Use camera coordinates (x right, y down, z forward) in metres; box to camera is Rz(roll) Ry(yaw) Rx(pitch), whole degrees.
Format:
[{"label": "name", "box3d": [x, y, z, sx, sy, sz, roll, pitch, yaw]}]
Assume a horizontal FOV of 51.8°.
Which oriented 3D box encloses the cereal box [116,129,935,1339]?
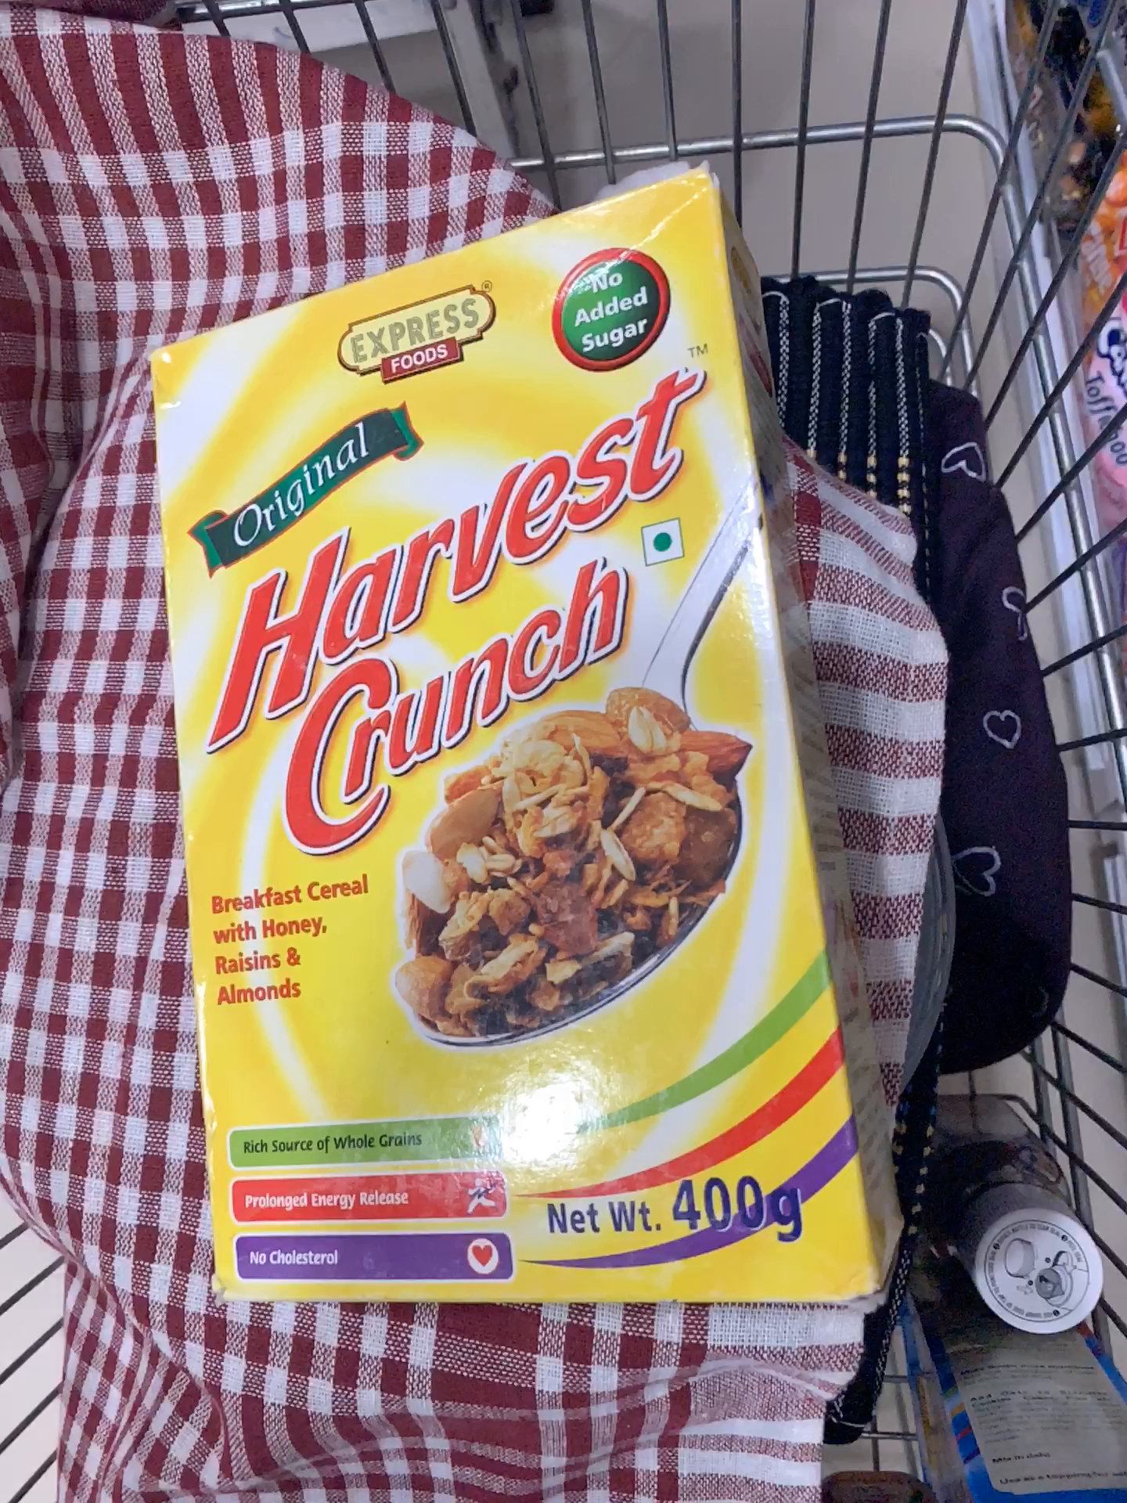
[{"label": "cereal box", "box3d": [-0.014, 0.004, 0.258, 0.150, 0.050, 0.220, -9, 84, 21]}]
